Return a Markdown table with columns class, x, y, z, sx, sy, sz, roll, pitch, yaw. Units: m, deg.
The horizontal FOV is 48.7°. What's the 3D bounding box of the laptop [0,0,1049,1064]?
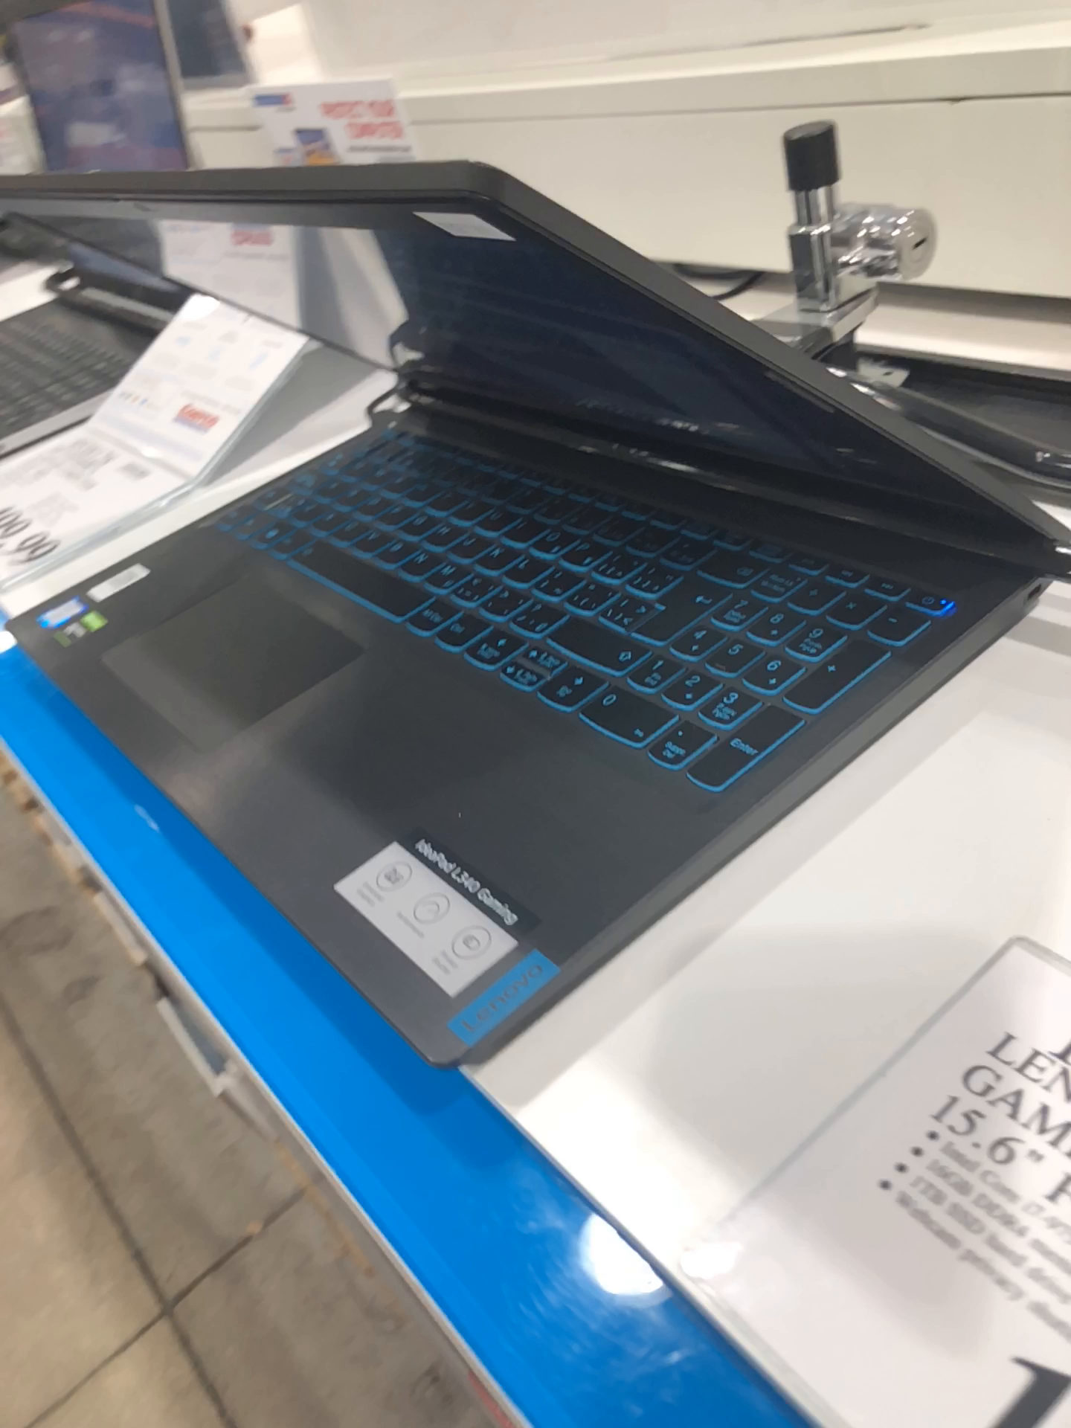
| class | x | y | z | sx | sy | sz | roll | pitch | yaw |
| --- | --- | --- | --- | --- | --- | --- | --- | --- | --- |
| laptop | -0.061 | -0.106 | 0.395 | 0.240 | 0.170 | 0.345 | -35 | 38 | -22 |
